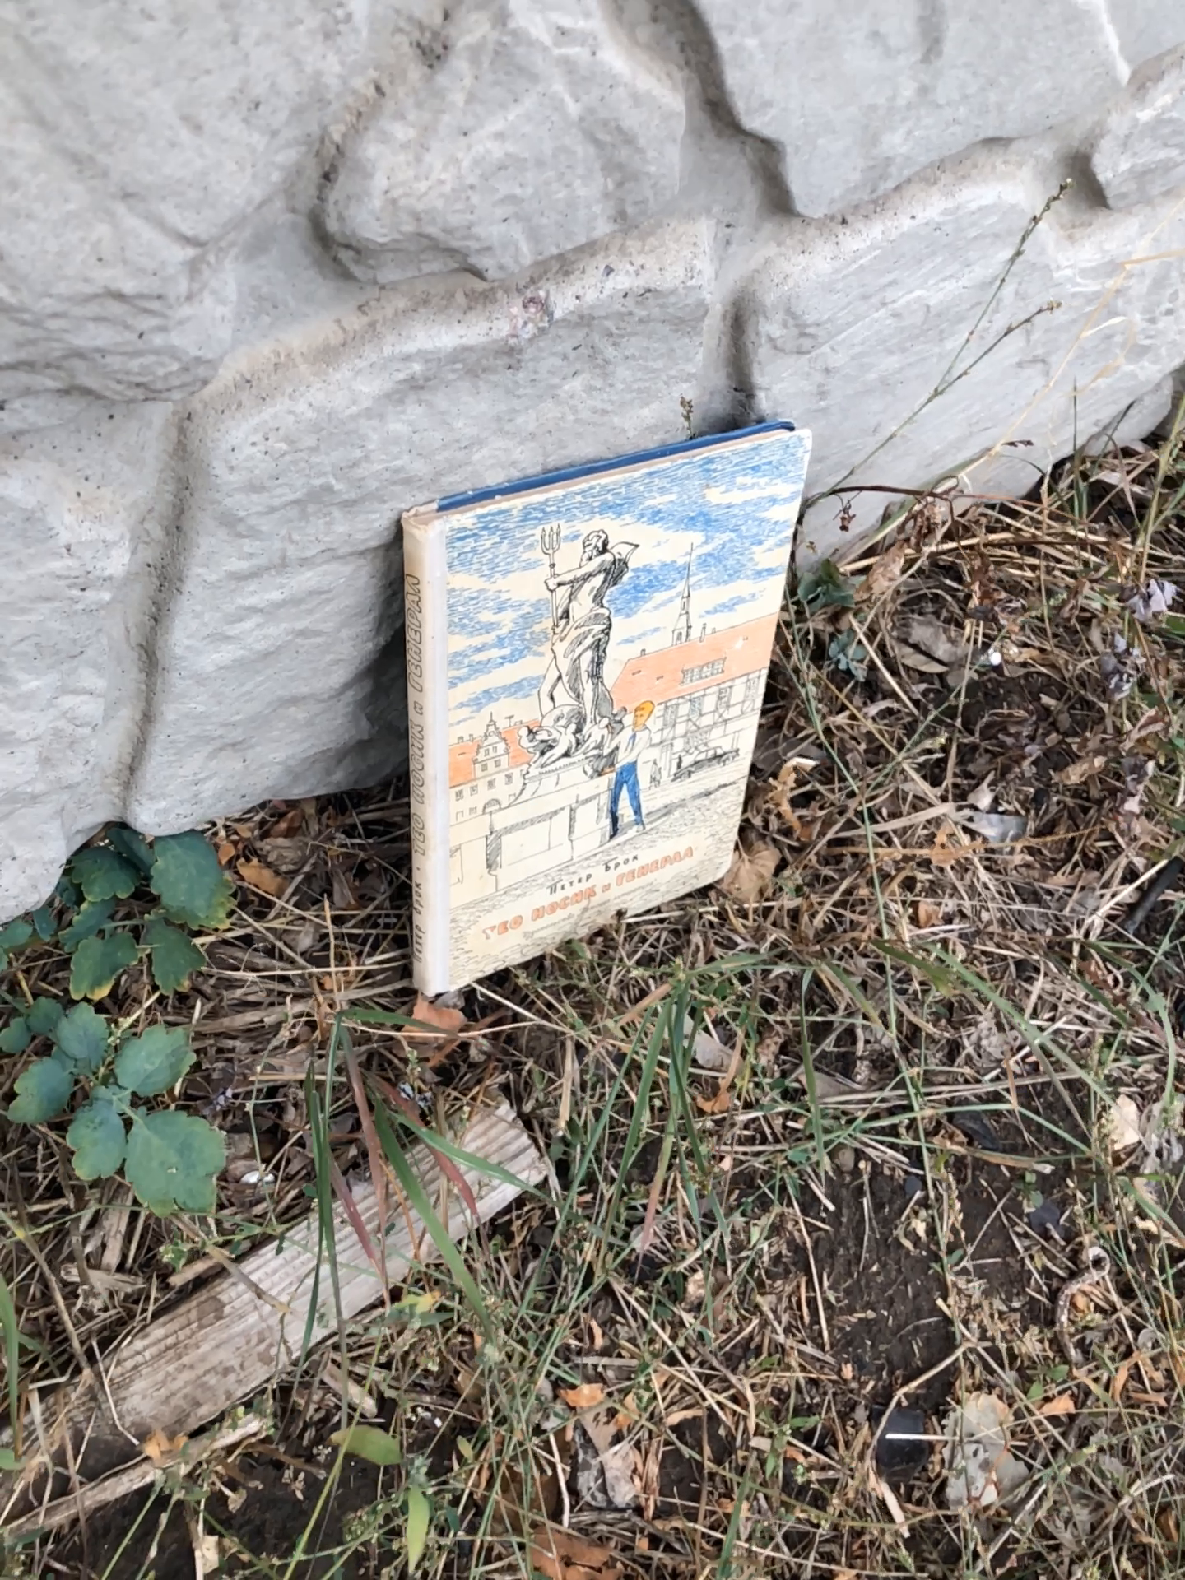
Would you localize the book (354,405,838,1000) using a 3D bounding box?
[{"bbox_3d":[0.003,-0.023,0.456,0.151,0.200,0.020,-18,46,-20],"label":"book"}]
